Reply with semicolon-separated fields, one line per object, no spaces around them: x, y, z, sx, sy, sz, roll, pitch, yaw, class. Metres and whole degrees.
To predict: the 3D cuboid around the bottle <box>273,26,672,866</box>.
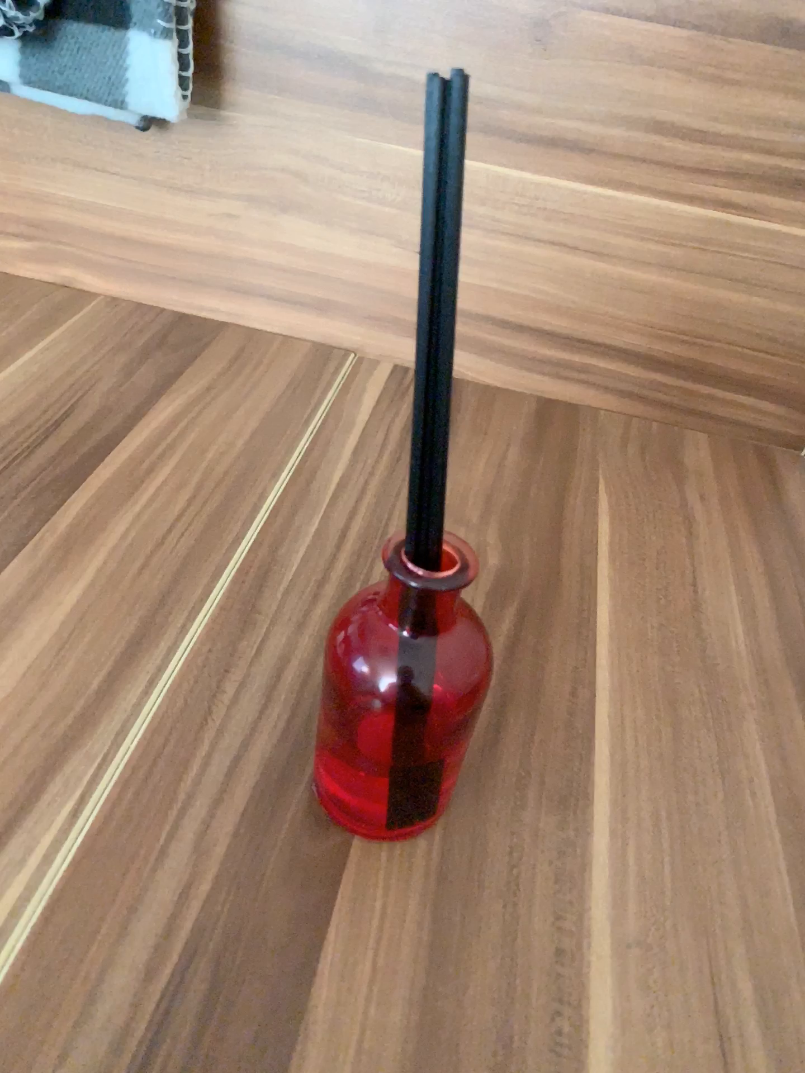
0.006;-0.001;0.238;0.060;0.239;0.050;17;38;8;bottle
